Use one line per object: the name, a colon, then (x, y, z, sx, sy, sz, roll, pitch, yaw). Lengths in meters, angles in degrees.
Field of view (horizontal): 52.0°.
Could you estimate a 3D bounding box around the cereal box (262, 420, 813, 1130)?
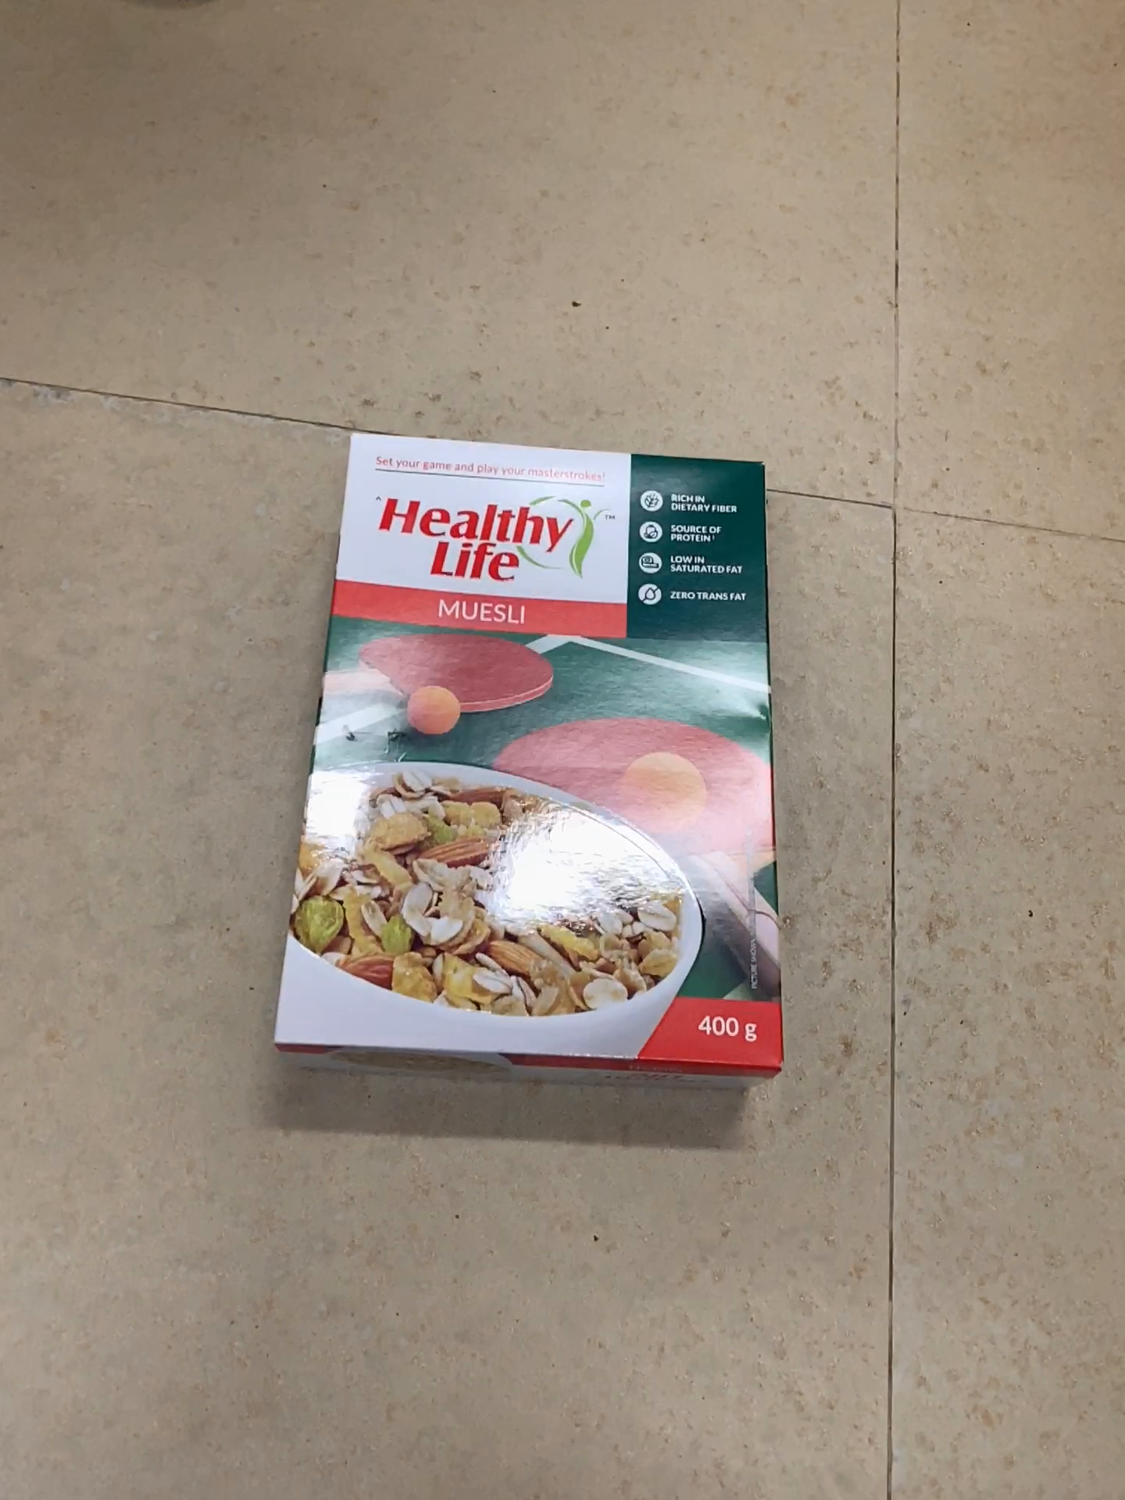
cereal box: (-0.005, 0.009, 0.413, 0.160, 0.080, 0.230, 4, 68, -4)
